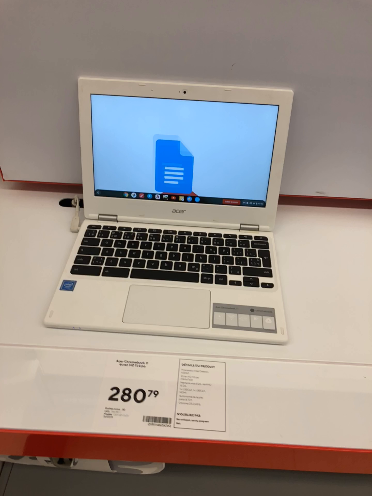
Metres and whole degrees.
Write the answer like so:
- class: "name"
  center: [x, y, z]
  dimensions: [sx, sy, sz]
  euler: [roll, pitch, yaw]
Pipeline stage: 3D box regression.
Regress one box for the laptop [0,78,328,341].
- class: "laptop"
  center: [-0.014, -0.059, 0.510]
  dimensions: [0.282, 0.188, 0.260]
  euler: [4, 43, 2]
